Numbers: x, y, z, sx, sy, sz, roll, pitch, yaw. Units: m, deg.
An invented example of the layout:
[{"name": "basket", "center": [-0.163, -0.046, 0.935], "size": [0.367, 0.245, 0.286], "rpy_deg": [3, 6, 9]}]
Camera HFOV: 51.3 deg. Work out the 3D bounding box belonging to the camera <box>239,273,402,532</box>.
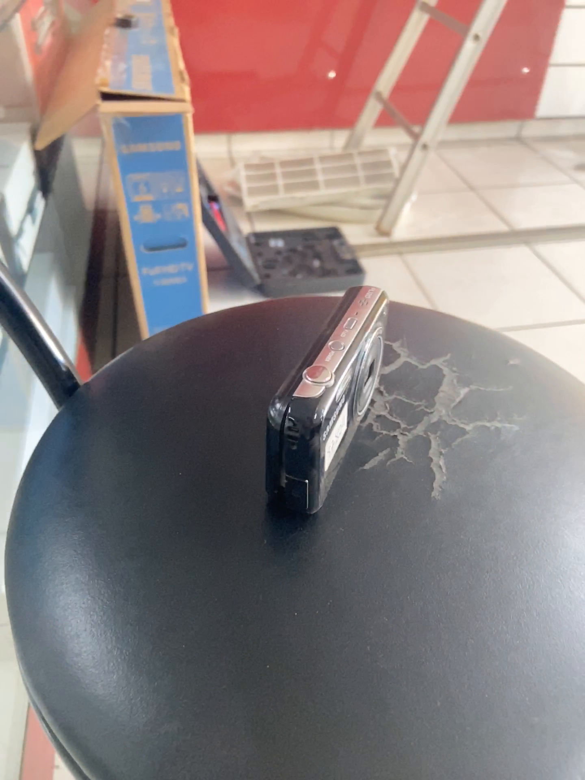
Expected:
[{"name": "camera", "center": [0.015, 0.000, 0.251], "size": [0.030, 0.050, 0.101], "rpy_deg": [15, 43, 16]}]
